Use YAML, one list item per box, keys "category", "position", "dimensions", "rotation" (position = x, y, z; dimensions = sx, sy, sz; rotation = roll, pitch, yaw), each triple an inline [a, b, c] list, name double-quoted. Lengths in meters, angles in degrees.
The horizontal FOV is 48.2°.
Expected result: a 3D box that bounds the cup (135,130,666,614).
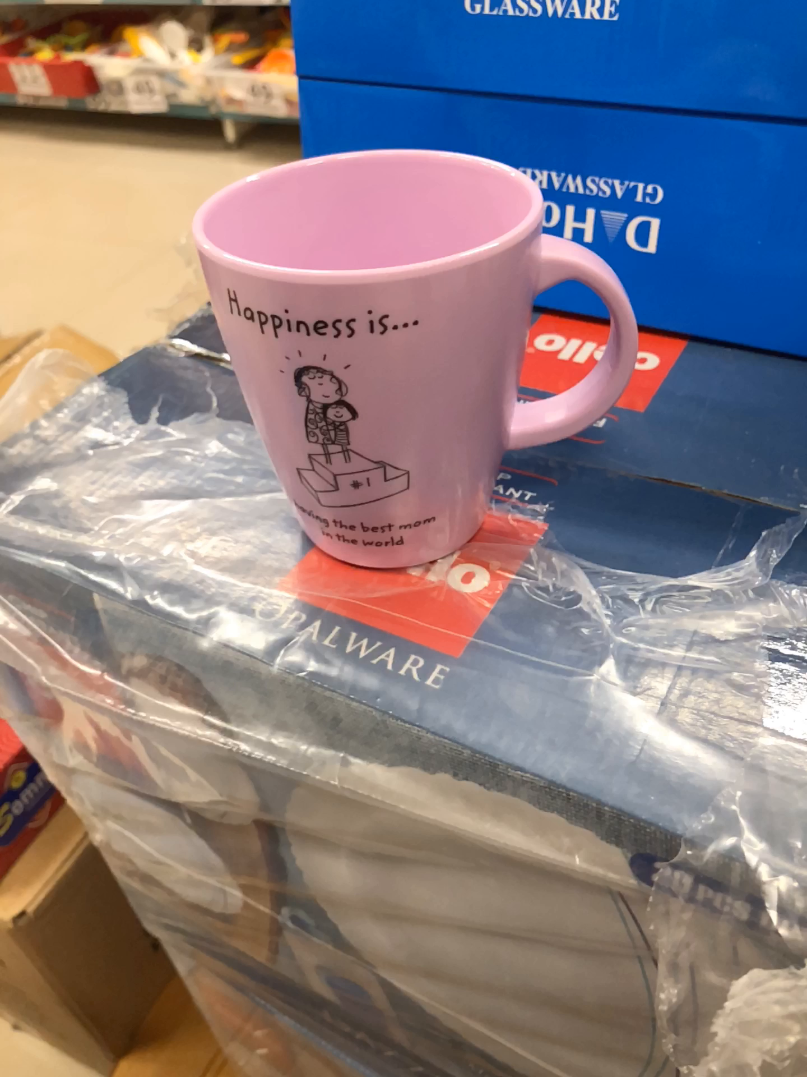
- category: "cup"
  position: [0.009, -0.048, 0.245]
  dimensions: [0.110, 0.089, 0.091]
  rotation: [4, 42, 11]
